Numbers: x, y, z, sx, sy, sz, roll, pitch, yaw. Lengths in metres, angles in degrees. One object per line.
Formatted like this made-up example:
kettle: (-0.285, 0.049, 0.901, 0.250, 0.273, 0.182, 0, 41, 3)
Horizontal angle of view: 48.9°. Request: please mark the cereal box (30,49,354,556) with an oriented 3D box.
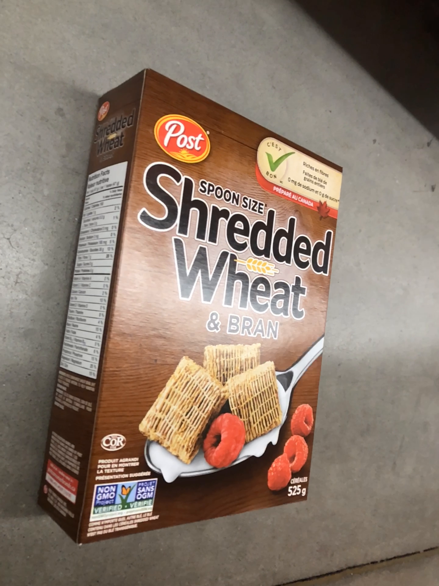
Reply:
cereal box: (-0.005, 0.013, 0.355, 0.201, 0.070, 0.280, 11, 85, -39)
